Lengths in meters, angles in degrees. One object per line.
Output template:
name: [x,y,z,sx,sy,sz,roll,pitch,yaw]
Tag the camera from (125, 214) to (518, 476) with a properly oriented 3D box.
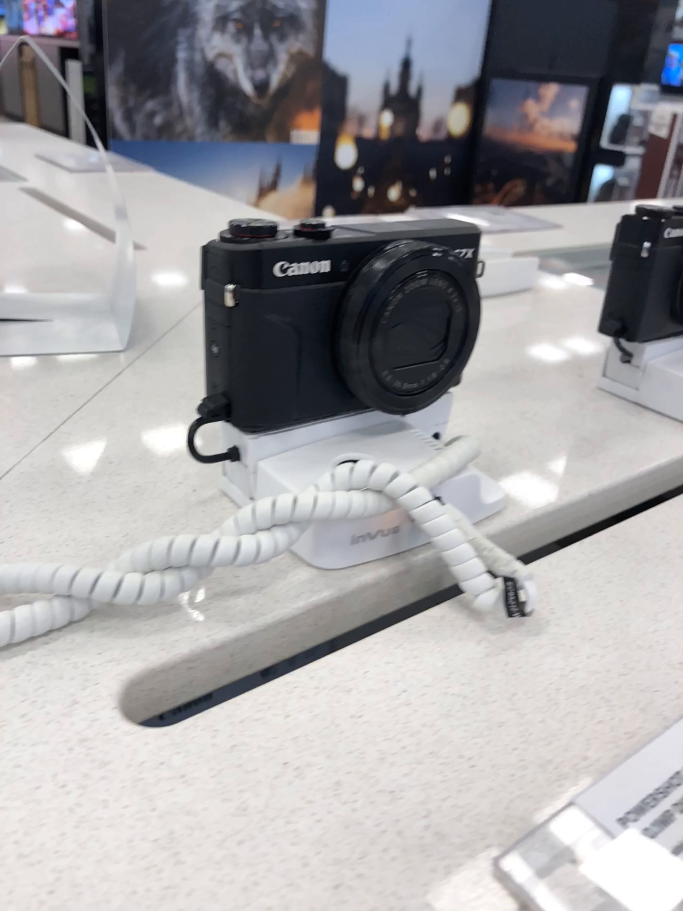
camera: [-0.004,-0.044,0.259,0.120,0.060,0.050,-15,33,-35]
